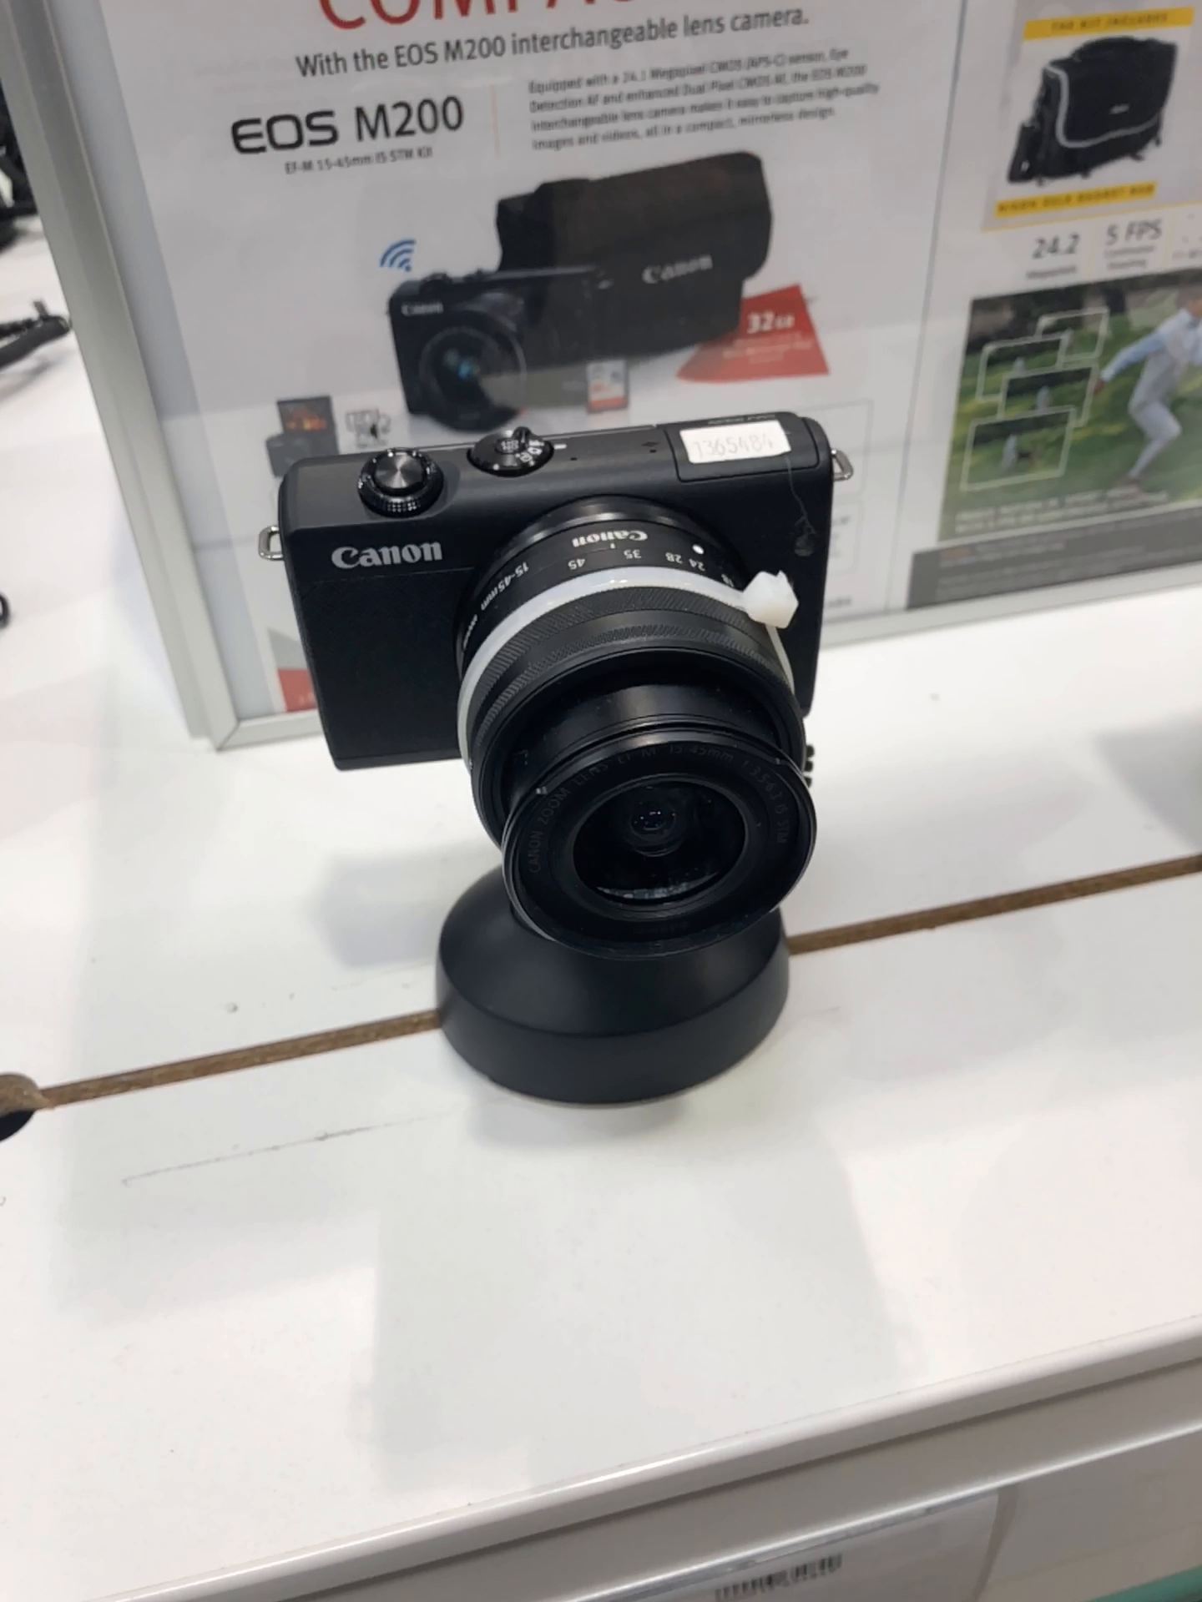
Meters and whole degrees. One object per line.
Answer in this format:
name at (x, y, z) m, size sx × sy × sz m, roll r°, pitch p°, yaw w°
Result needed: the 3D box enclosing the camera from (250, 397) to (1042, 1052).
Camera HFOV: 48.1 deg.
camera at (-0.001, -0.023, 0.262) m, size 0.120 × 0.050 × 0.120 m, roll -8°, pitch 41°, yaw -6°
